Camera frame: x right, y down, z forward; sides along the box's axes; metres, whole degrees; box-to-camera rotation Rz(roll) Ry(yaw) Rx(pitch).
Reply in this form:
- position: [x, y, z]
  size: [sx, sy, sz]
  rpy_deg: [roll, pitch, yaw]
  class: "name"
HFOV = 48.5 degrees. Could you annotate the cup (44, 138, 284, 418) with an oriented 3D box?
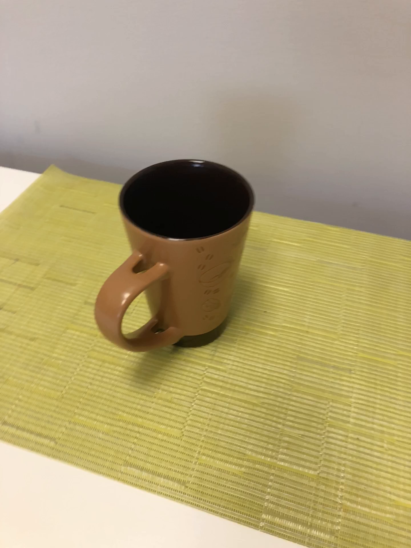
- position: [-0.019, -0.001, 0.316]
  size: [0.090, 0.119, 0.127]
  rpy_deg: [22, 48, 20]
  class: "cup"
